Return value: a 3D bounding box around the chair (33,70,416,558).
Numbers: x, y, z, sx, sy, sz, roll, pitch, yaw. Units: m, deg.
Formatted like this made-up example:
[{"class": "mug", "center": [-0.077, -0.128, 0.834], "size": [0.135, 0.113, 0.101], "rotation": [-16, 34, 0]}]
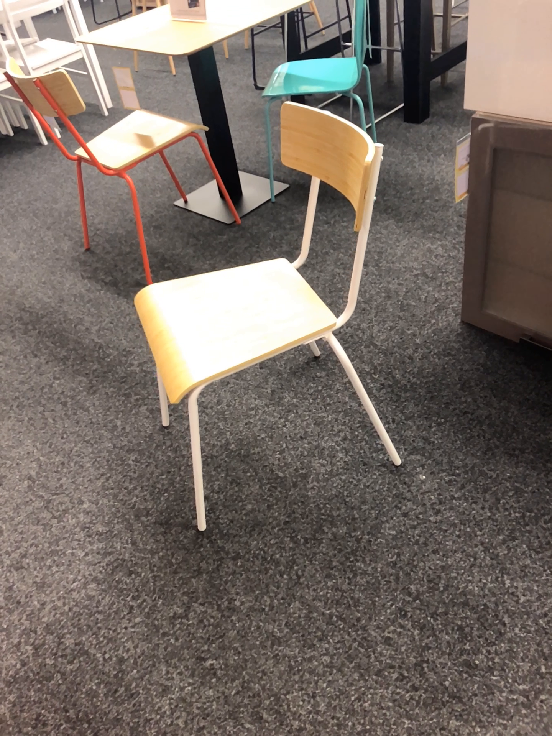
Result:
[{"class": "chair", "center": [-0.080, -0.122, 1.390], "size": [0.581, 0.816, 0.542], "rotation": [-22, 42, -12]}]
